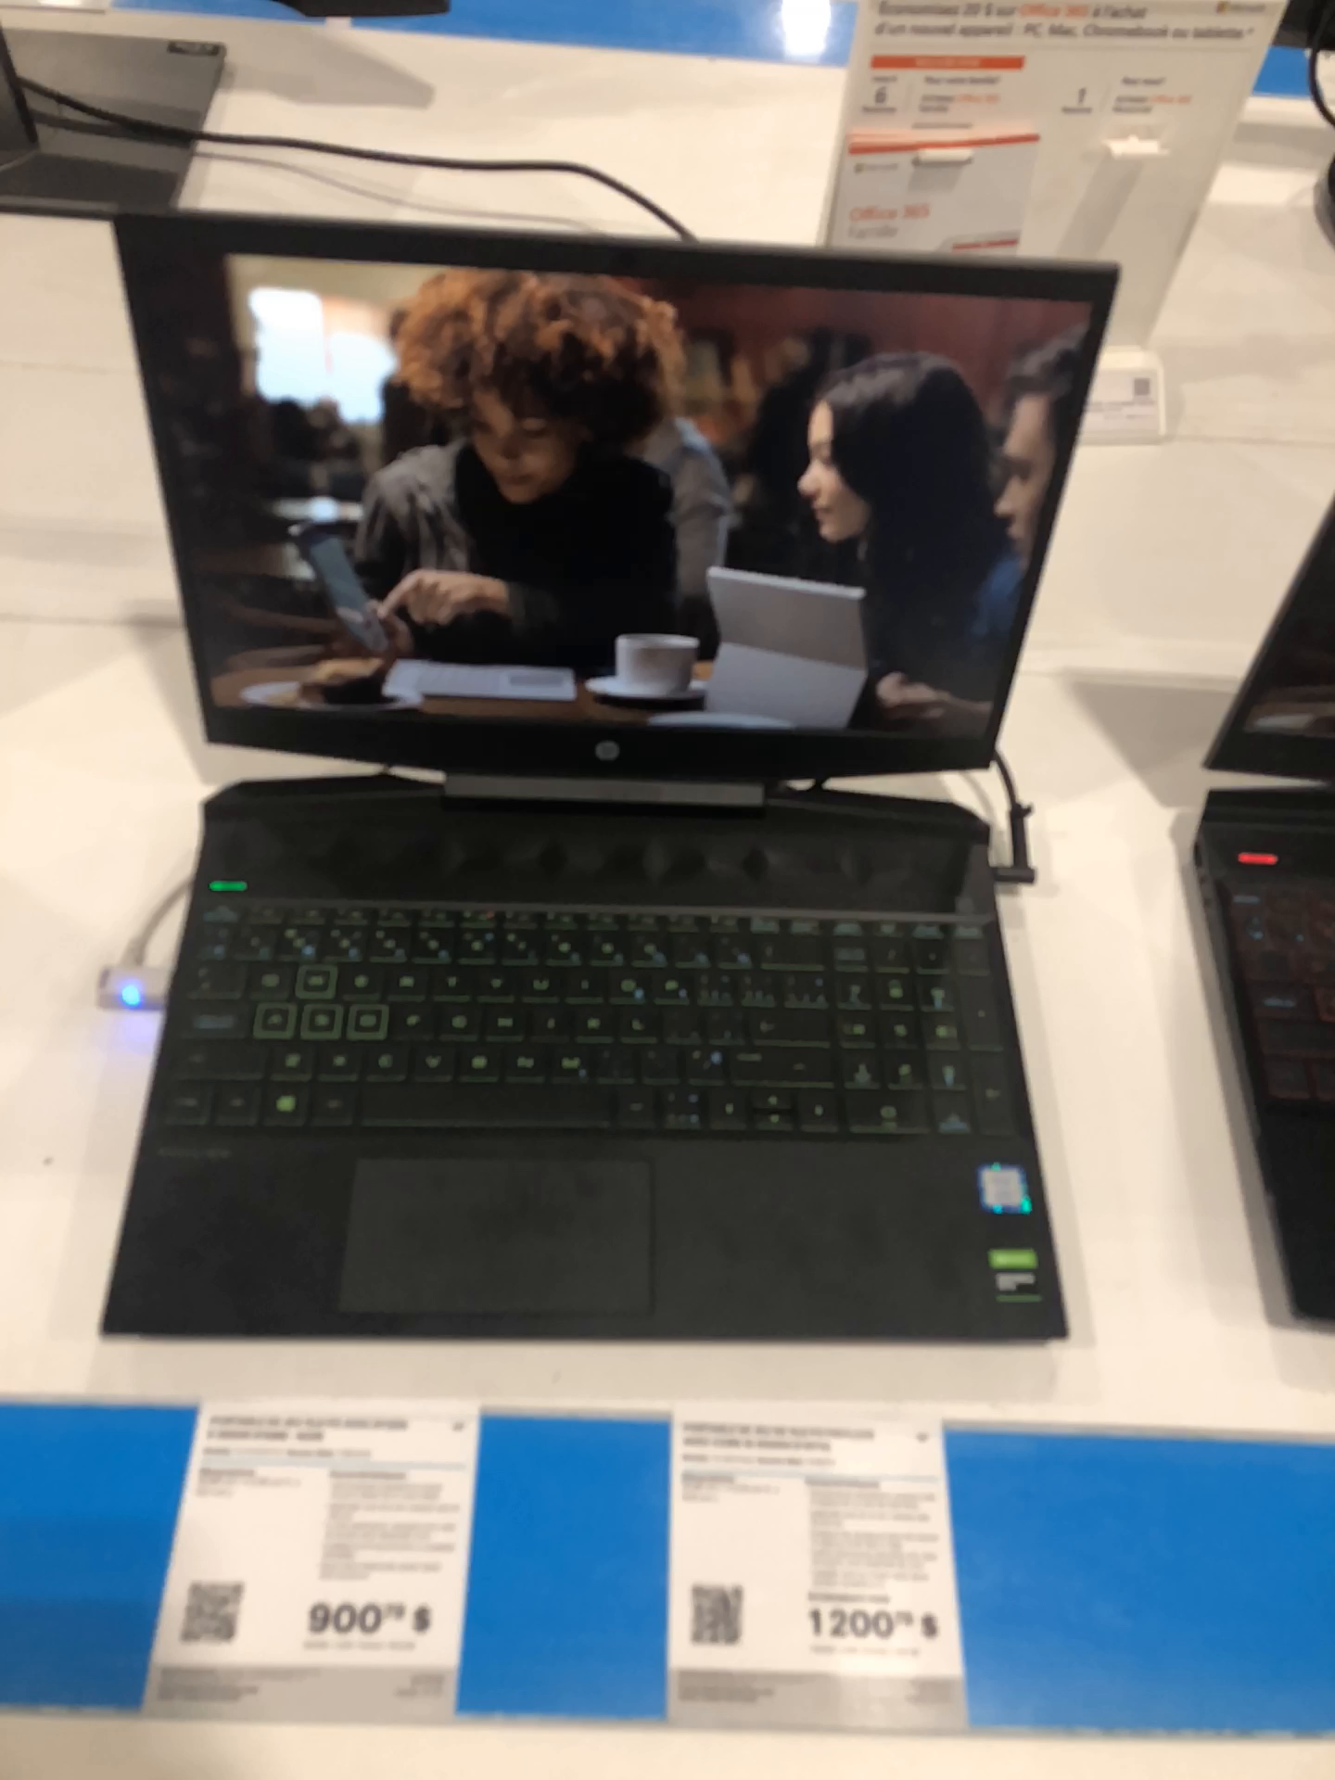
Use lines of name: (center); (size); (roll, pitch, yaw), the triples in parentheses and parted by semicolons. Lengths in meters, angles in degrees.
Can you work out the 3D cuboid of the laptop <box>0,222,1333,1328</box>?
laptop: (-0.022, -0.033, 0.529); (0.355, 0.232, 0.317); (1, 56, -5)
